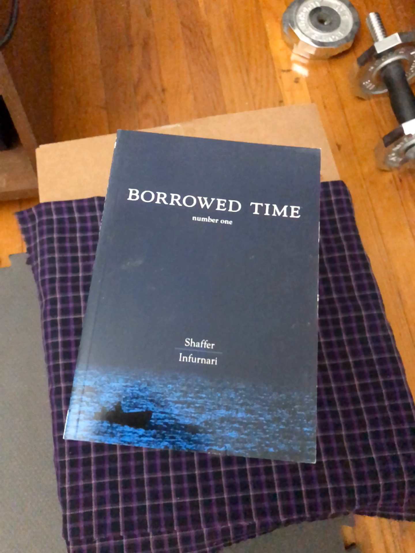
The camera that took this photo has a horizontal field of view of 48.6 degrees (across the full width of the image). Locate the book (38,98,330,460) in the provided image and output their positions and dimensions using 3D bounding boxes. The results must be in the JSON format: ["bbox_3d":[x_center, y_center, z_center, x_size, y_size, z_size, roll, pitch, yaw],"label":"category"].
[{"bbox_3d":[-0.003,-0.012,0.297,0.160,0.010,0.230,6,69,-1],"label":"book"}]
